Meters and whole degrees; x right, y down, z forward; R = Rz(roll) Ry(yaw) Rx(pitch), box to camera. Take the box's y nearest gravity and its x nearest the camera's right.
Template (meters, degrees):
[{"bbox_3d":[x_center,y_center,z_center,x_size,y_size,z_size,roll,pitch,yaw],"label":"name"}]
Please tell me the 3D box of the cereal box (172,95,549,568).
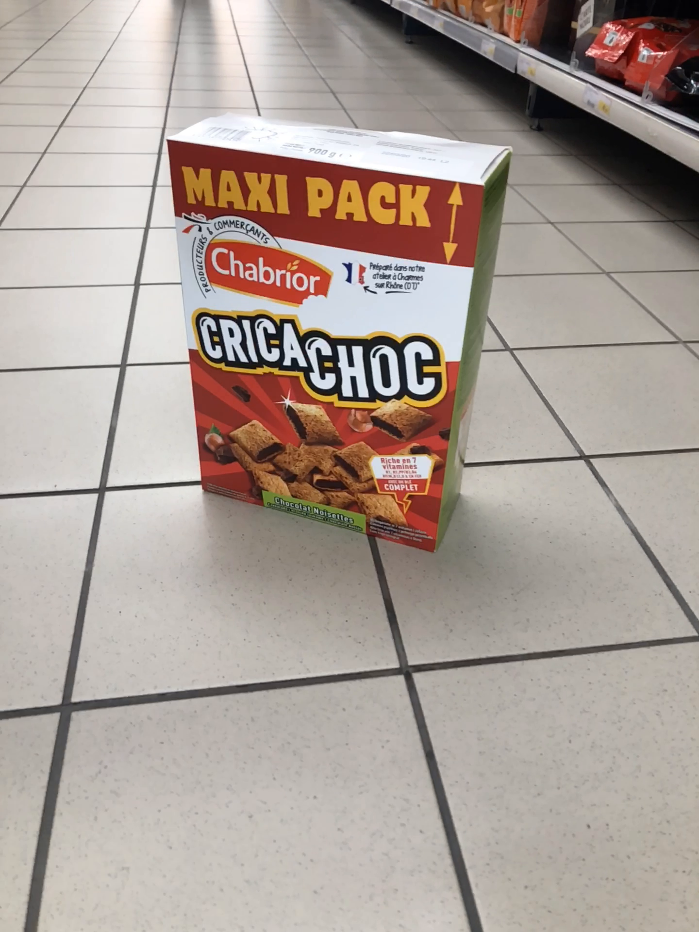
[{"bbox_3d":[0.002,-0.085,0.515,0.200,0.268,0.081,15,36,17],"label":"cereal box"}]
